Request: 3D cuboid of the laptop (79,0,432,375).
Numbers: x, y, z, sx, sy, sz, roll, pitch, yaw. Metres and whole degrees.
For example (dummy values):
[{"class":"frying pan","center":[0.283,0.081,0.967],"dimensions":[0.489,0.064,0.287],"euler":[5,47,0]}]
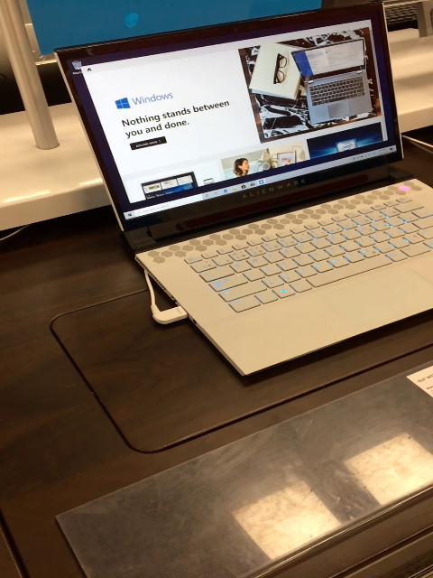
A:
[{"class":"laptop","center":[0.126,-0.131,0.592],"dimensions":[0.383,0.213,0.311],"euler":[-21,47,-17]}]
